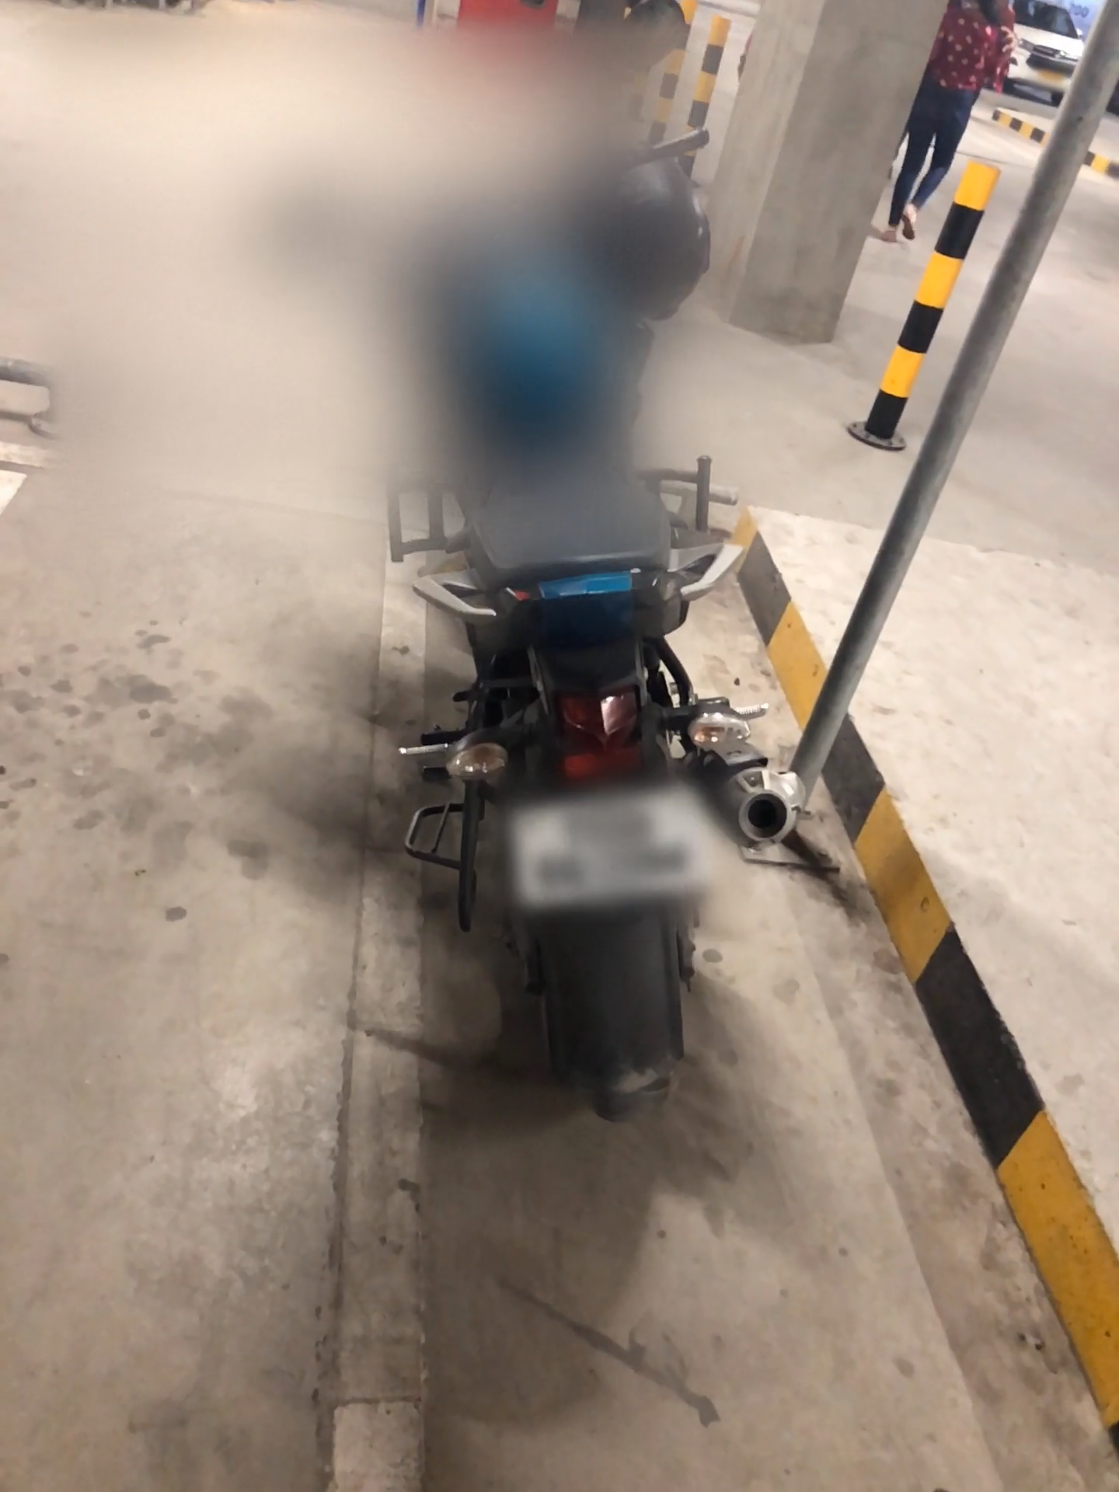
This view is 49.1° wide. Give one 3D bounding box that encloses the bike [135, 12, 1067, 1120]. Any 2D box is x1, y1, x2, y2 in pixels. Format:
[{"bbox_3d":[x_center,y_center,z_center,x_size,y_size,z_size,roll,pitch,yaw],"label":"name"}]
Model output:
[{"bbox_3d":[-0.155,-0.357,1.809,0.767,0.951,1.421,4,36,-15],"label":"bike"}]
